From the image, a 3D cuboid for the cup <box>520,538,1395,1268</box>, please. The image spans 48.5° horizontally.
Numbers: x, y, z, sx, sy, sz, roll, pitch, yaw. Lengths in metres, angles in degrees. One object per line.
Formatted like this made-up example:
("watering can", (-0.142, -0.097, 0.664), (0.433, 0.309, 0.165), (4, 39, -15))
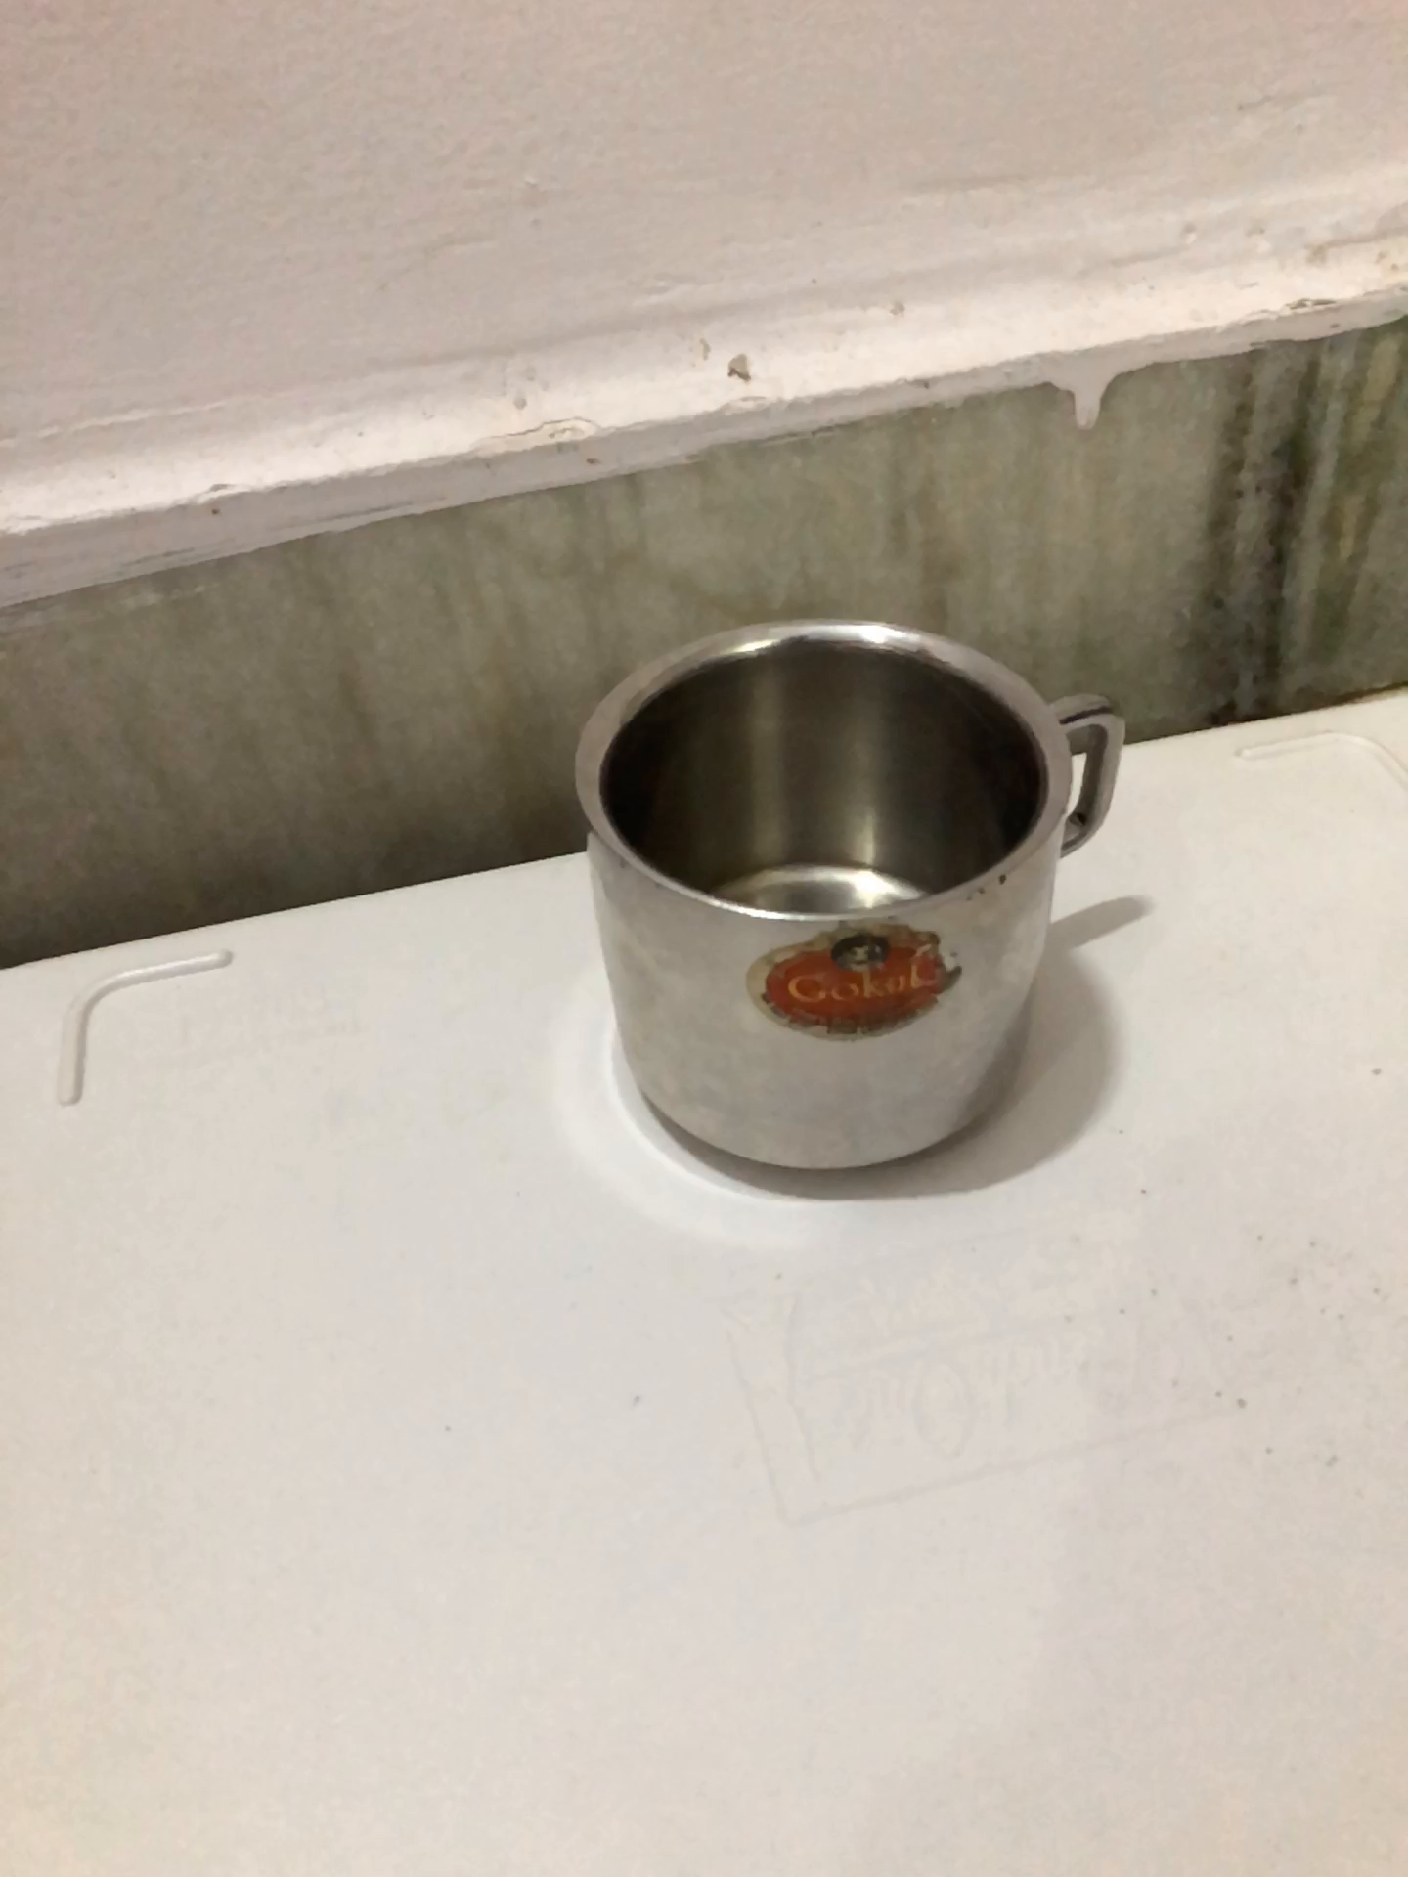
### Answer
("cup", (0.034, -0.011, 0.245), (0.100, 0.050, 0.080), (-18, 44, -15))
